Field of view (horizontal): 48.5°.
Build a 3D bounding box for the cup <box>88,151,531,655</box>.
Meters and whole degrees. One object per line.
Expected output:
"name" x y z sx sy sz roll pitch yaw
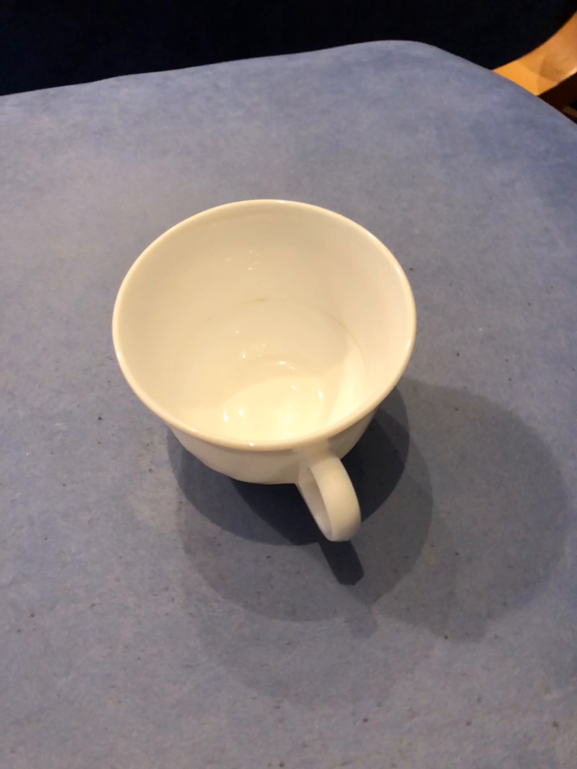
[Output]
"cup" -0.002 0.000 0.186 0.080 0.050 0.120 -16 61 -7
